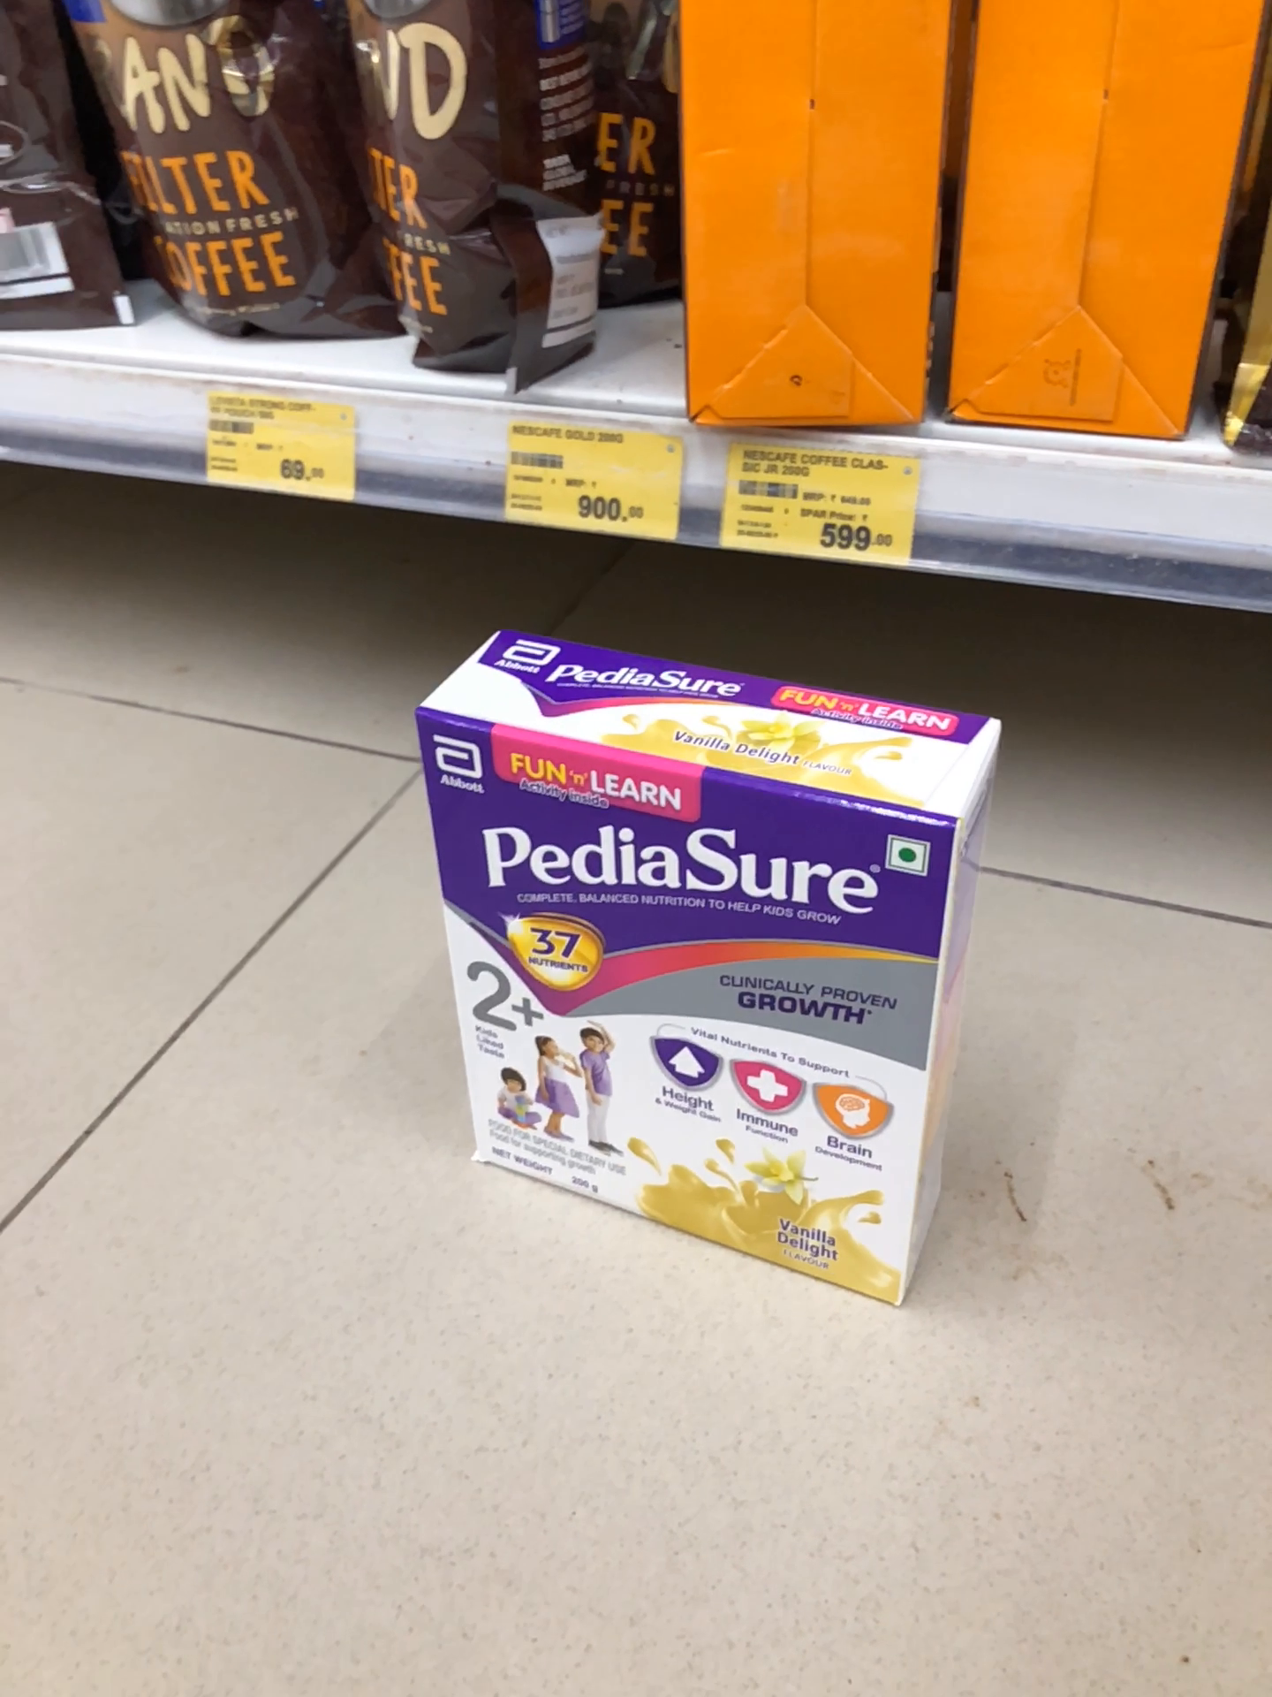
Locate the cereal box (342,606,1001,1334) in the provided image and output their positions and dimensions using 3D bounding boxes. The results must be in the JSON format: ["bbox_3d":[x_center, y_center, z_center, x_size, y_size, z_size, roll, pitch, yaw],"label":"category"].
[{"bbox_3d":[0.009,0.032,0.363,0.140,0.159,0.050,14,39,21],"label":"cereal box"}]
